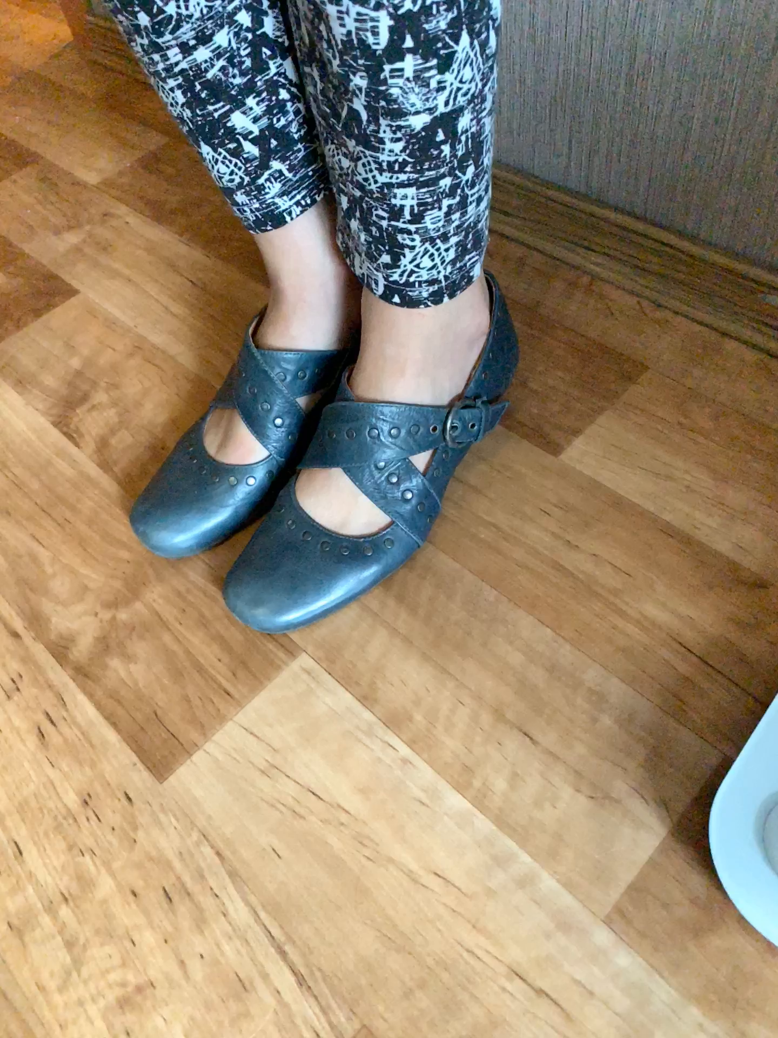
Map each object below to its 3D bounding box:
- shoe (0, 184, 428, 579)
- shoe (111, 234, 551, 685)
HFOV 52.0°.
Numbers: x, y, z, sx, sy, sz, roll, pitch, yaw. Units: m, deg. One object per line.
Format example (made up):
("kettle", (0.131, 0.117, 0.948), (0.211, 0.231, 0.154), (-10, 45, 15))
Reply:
("shoe", (-0.094, -0.092, 0.493), (0.090, 0.100, 0.240), (36, 65, 29))
("shoe", (-0.017, -0.044, 0.460), (0.090, 0.100, 0.250), (31, 62, 27))
